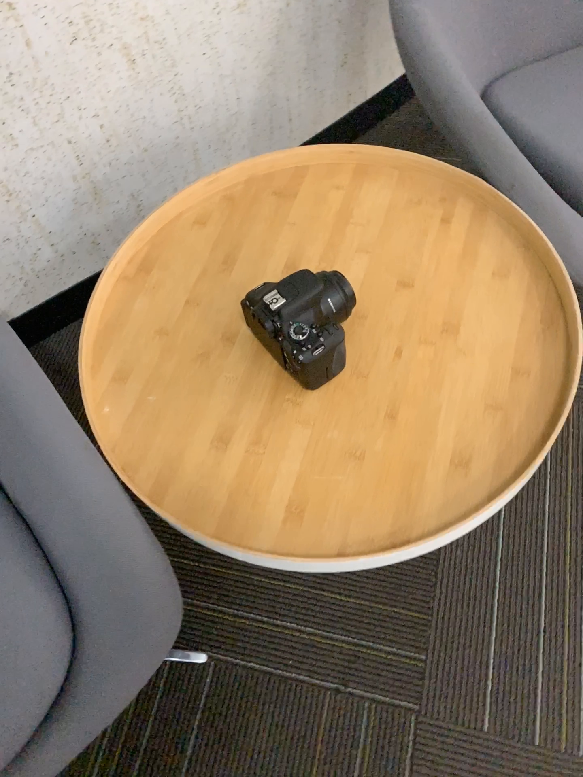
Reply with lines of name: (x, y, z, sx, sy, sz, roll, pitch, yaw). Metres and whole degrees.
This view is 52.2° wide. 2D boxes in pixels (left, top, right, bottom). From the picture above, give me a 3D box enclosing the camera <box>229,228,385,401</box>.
camera: (0.019, -0.087, 0.704, 0.117, 0.100, 0.134, -35, 64, -13)
